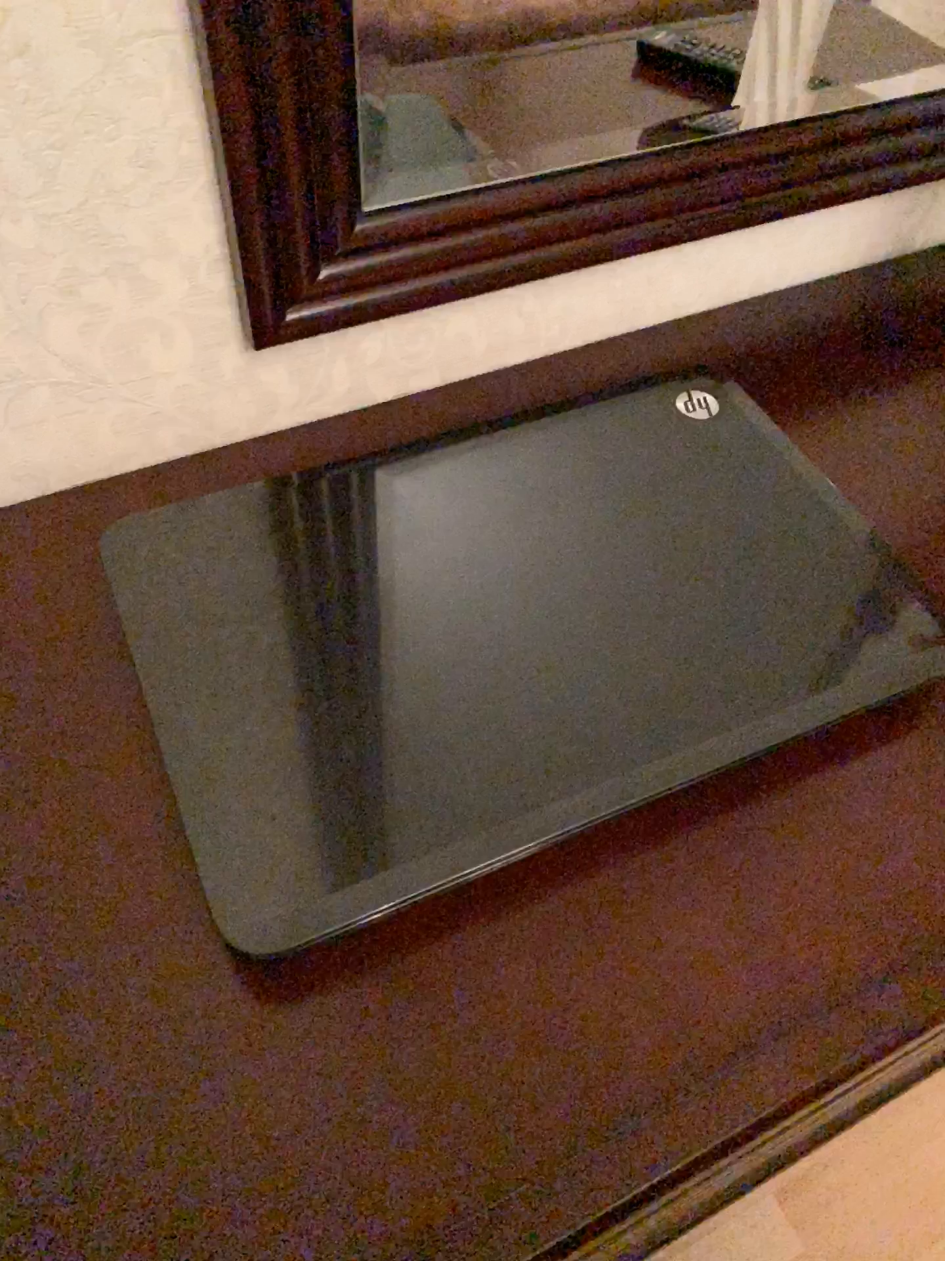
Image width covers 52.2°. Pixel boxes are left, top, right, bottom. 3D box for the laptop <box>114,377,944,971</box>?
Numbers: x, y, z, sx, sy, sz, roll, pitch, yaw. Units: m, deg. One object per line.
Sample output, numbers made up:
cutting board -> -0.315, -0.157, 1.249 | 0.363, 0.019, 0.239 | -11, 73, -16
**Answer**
laptop -> 0.031, -0.016, 0.458 | 0.341, 0.007, 0.224 | -19, 55, -21
